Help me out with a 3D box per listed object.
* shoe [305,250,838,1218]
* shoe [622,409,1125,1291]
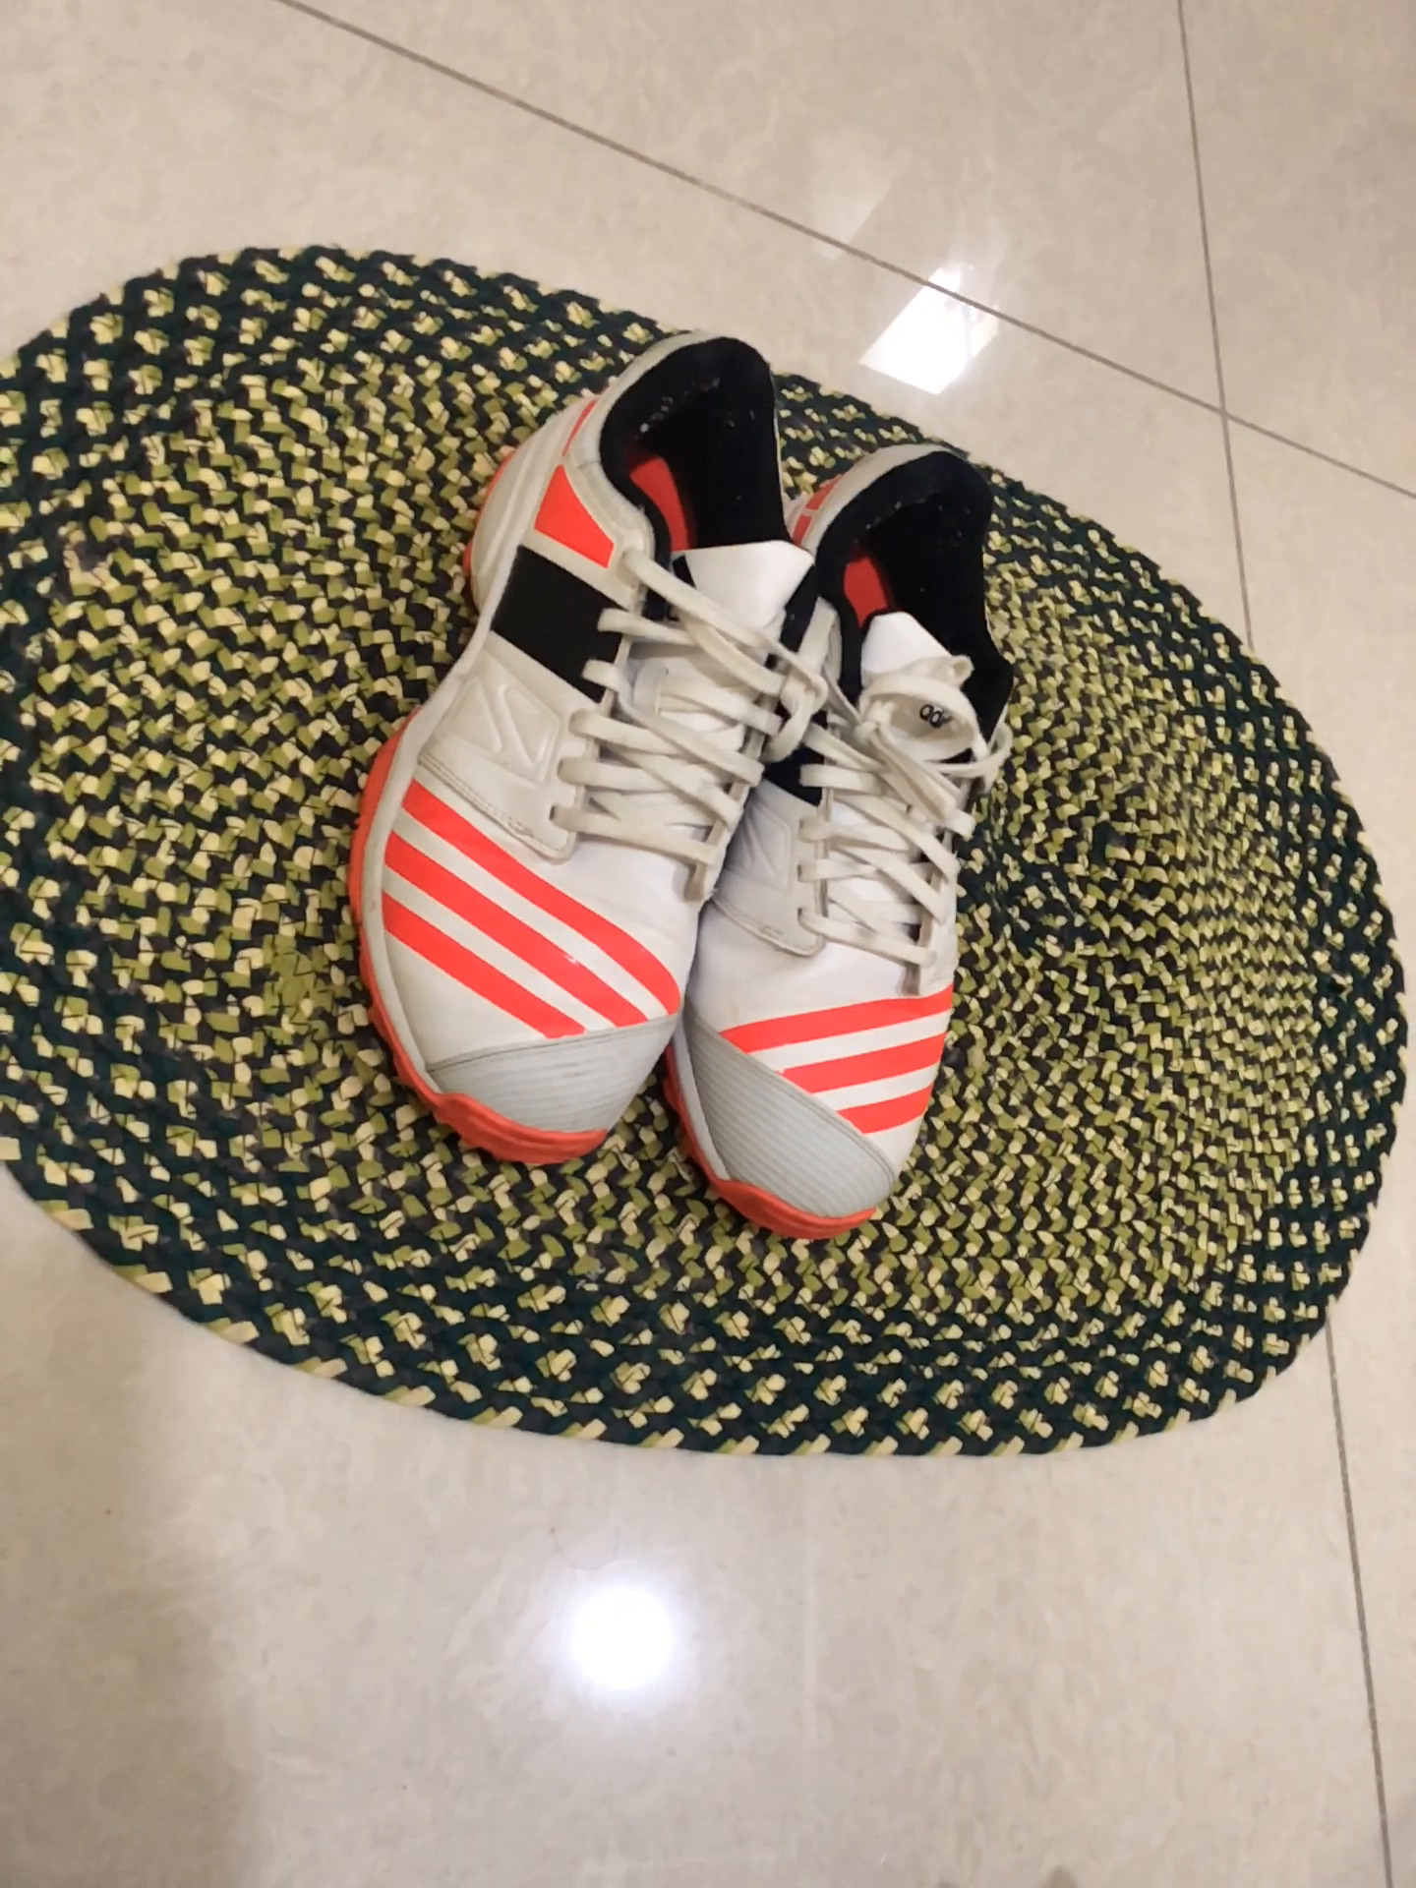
[{"bbox_3d":[-0.037,-0.064,0.489,0.100,0.090,0.270,18,65,-23],"label":"shoe"},{"bbox_3d":[0.059,-0.027,0.515,0.110,0.100,0.250,18,65,-23],"label":"shoe"}]
